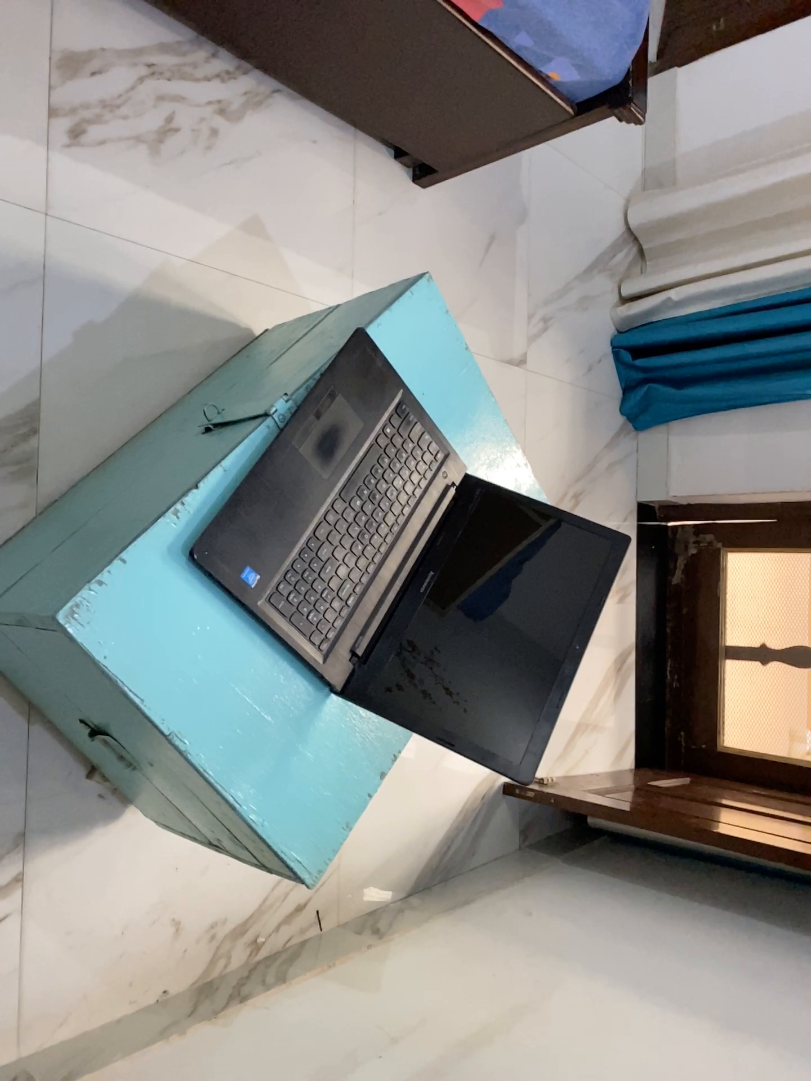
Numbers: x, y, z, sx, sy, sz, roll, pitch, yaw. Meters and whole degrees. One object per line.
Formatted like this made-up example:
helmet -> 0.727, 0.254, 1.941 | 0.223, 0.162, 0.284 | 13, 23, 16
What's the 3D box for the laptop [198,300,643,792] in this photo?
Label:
laptop -> 0.054, 0.012, 0.996 | 0.424, 0.190, 0.371 | 50, 56, -31
